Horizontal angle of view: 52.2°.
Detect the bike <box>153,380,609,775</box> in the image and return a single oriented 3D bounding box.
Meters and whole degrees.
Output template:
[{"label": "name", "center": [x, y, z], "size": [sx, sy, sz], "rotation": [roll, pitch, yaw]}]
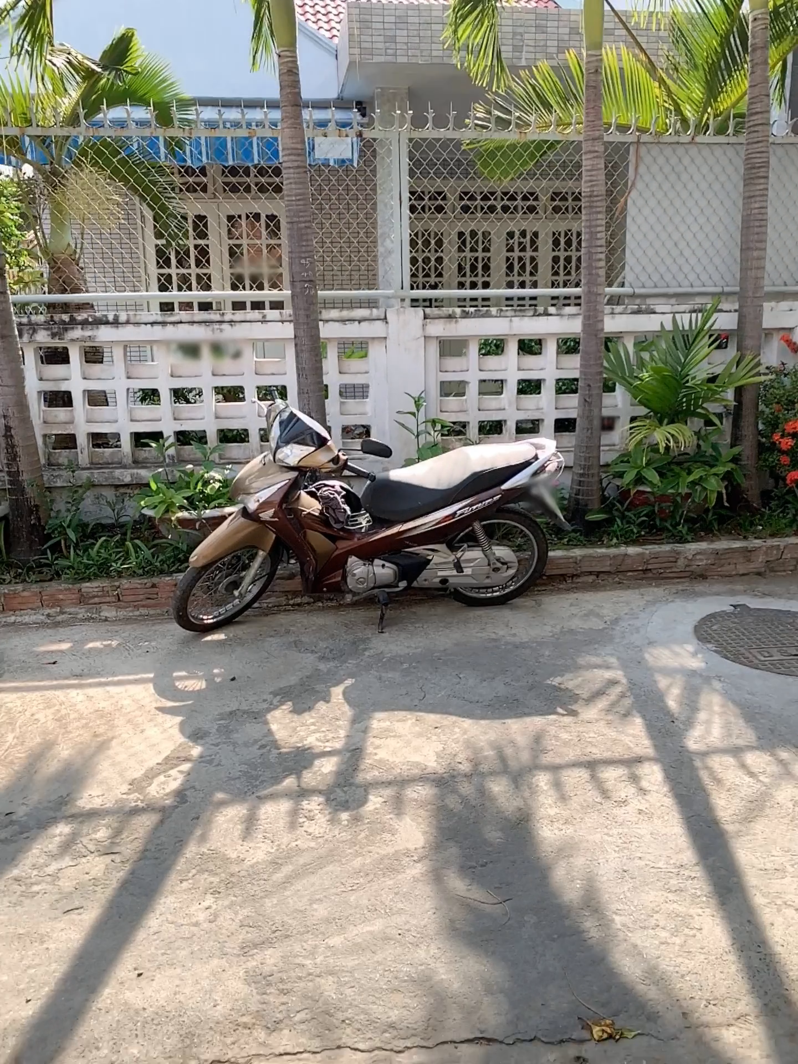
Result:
[{"label": "bike", "center": [-0.033, 0.091, 3.755], "size": [1.975, 1.444, 0.614], "rotation": [-6, 14, -20]}]
